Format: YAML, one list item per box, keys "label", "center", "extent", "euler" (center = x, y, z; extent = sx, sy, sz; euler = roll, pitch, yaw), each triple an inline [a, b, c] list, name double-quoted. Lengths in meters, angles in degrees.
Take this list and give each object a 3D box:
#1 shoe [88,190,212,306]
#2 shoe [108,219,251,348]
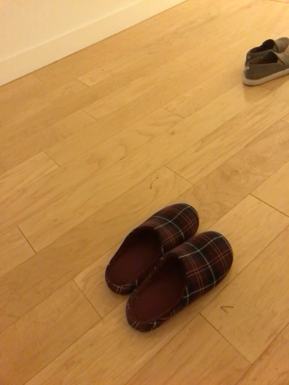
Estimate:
- label: "shoe"
  center: [0.019, 0.110, 0.698]
  extent: [0.271, 0.030, 0.120]
  euler: [-39, 51, -24]
- label: "shoe"
  center: [0.073, 0.169, 0.631]
  extent: [0.271, 0.030, 0.120]
  euler: [-32, 49, -18]
